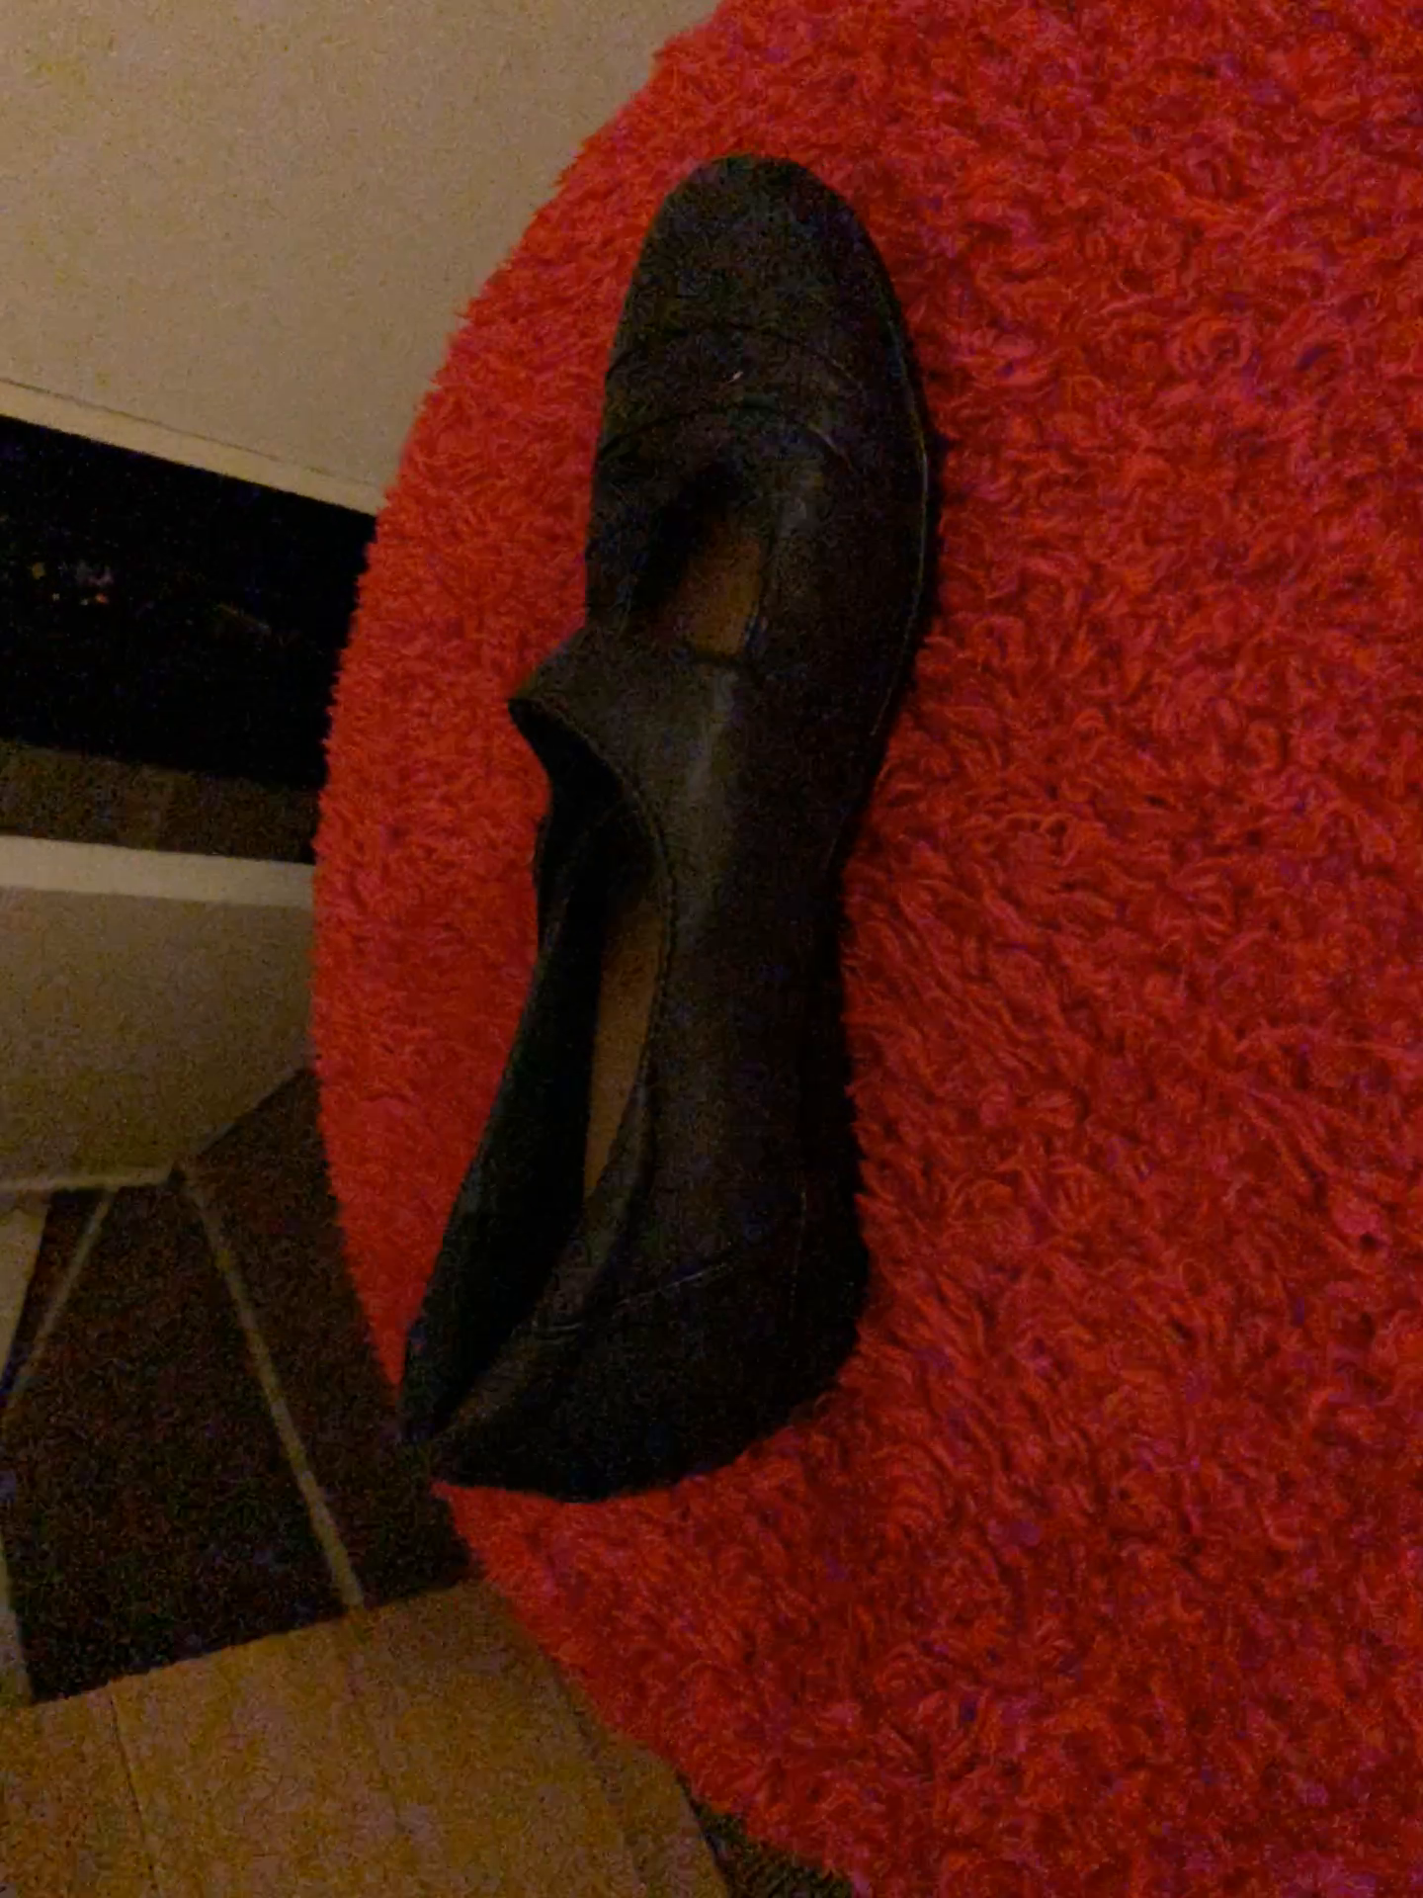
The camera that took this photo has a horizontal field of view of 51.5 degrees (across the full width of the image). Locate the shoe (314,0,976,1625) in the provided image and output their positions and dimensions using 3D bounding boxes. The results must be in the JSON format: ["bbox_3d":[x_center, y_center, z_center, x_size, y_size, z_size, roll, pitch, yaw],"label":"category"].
[{"bbox_3d":[-0.015,-0.036,0.282,0.093,0.079,0.275,-7,81,49],"label":"shoe"}]
